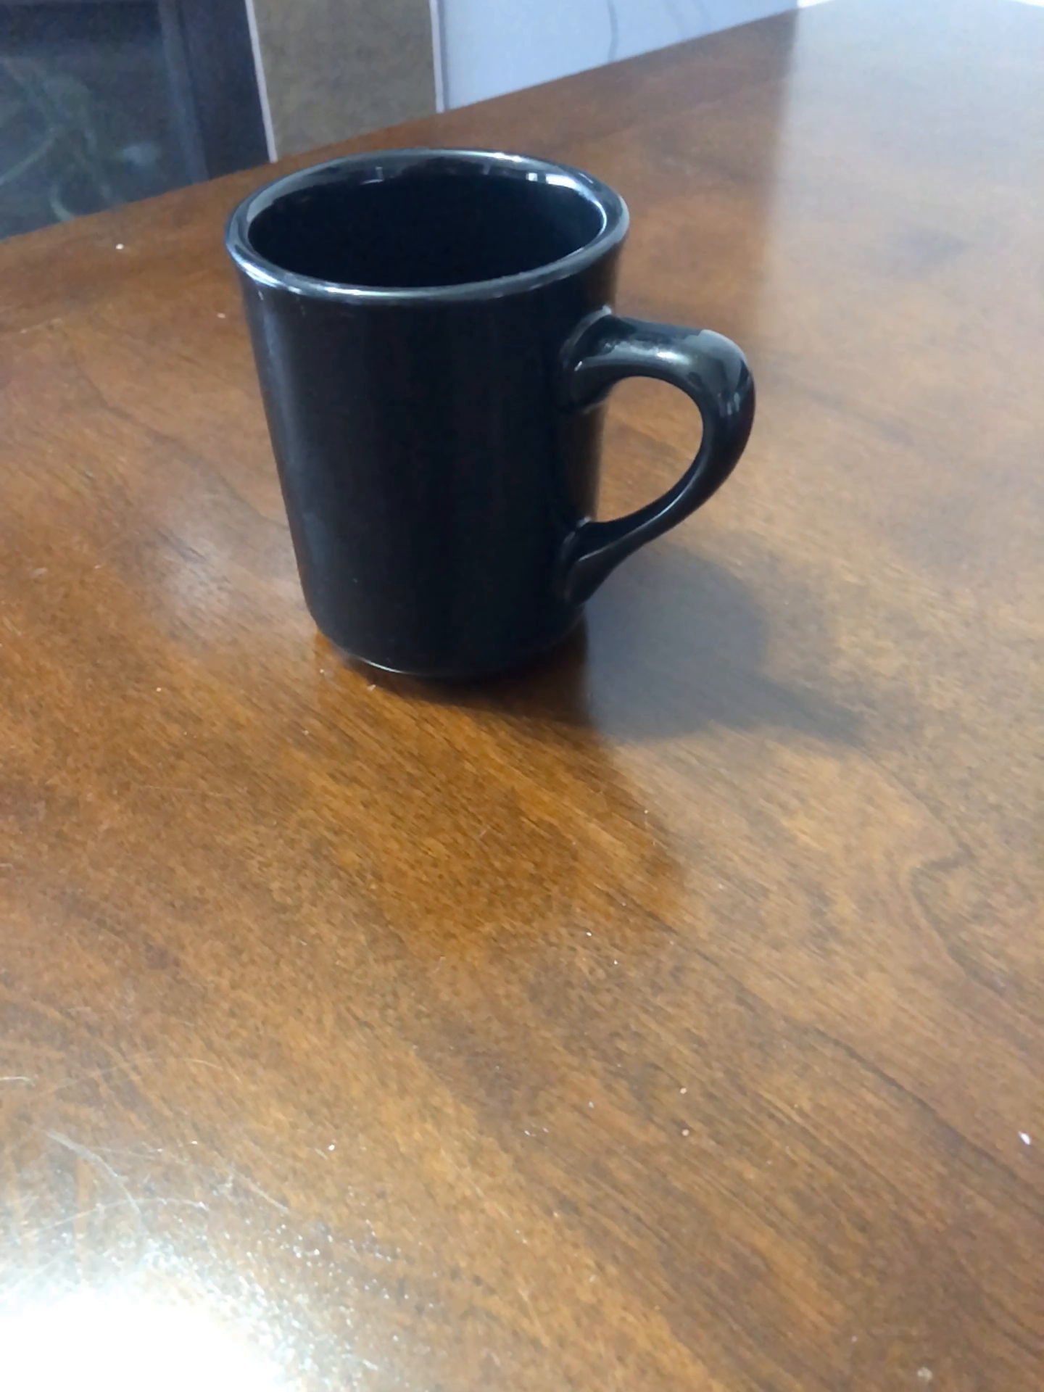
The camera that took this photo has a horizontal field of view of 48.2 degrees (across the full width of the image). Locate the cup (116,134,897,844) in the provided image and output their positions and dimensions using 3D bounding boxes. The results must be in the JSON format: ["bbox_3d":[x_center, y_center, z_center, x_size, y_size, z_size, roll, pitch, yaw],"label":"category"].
[{"bbox_3d":[-0.002,-0.052,0.254,0.120,0.090,0.090,26,49,26],"label":"cup"}]
